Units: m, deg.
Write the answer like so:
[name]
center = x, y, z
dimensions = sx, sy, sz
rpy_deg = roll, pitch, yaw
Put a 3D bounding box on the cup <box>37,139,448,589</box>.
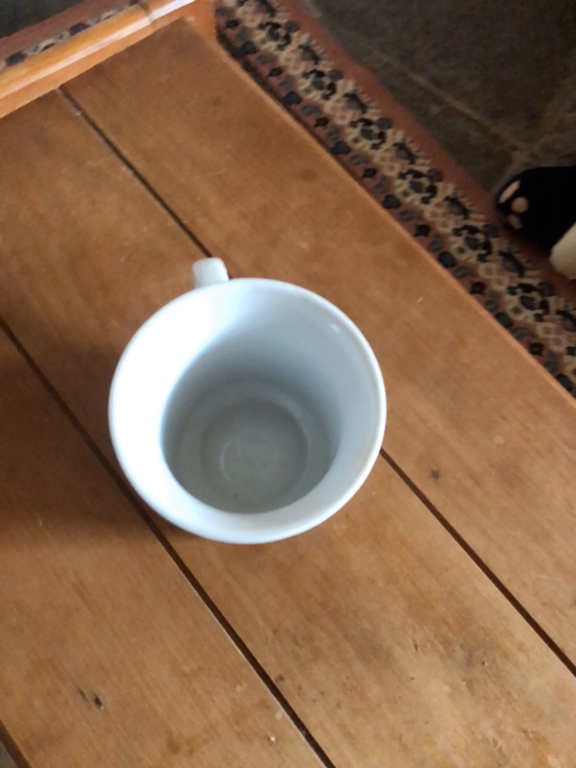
[cup]
center = -0.021, -0.004, 0.242
dimensions = 0.100, 0.080, 0.130
rpy_deg = -15, 72, -9
